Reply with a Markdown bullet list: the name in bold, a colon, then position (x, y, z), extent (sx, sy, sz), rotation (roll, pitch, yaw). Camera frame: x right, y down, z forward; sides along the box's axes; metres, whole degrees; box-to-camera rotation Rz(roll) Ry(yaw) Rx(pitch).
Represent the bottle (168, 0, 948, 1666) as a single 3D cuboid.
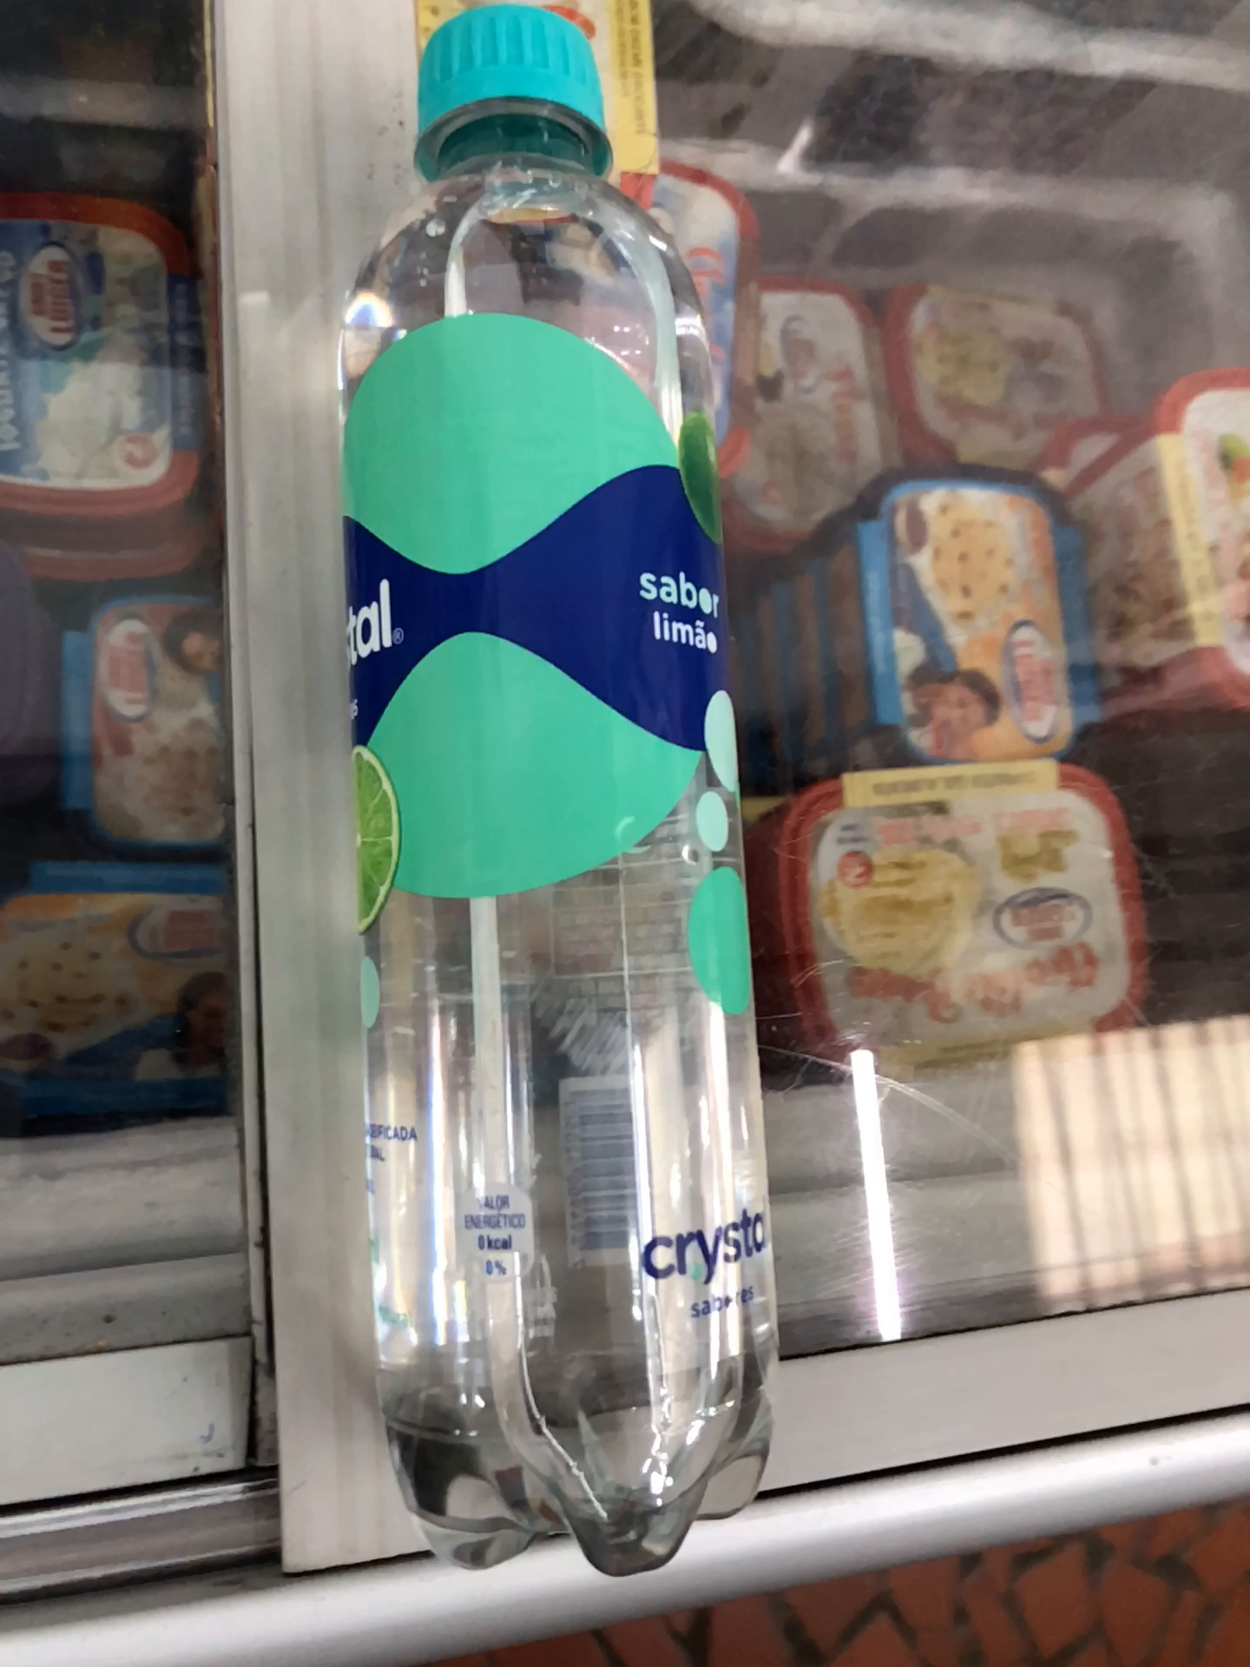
- **bottle**: position (-0.010, -0.014, 0.221), extent (0.070, 0.070, 0.240), rotation (-5, 89, -50)
